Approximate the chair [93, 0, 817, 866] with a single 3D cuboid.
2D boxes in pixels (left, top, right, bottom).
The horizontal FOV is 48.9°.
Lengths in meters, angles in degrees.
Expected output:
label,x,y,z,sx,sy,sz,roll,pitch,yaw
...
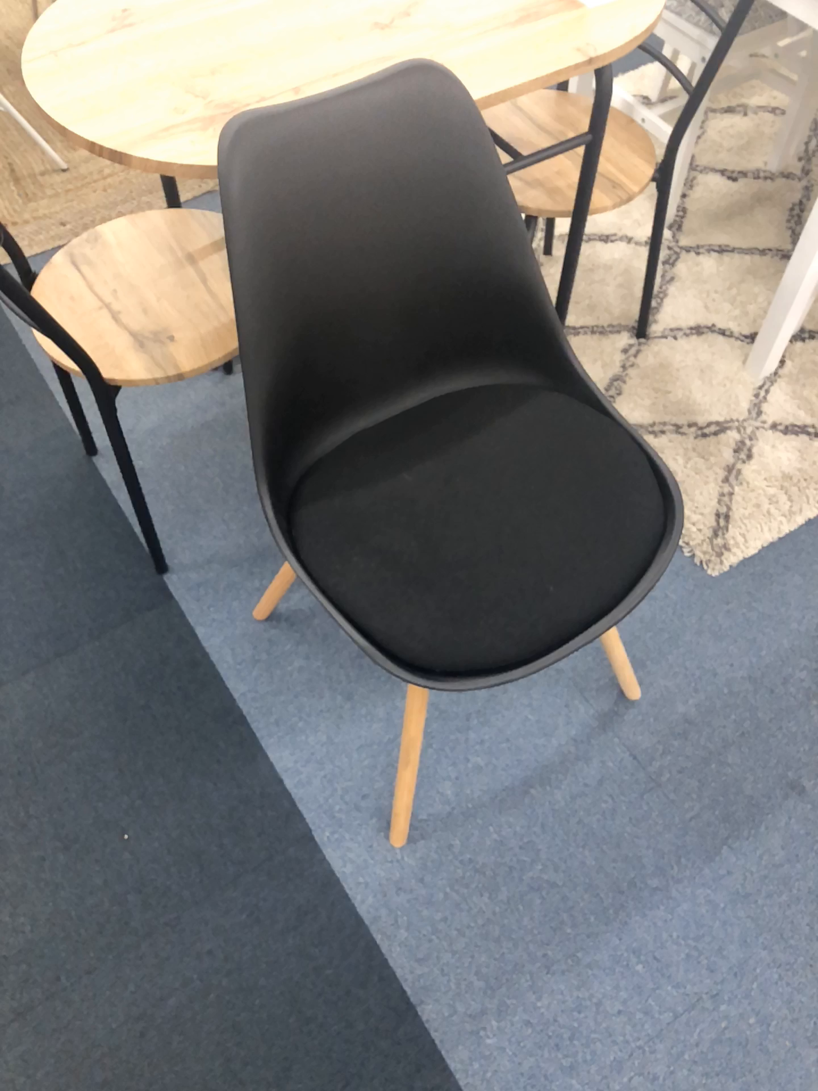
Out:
label,x,y,z,sx,sy,sz,roll,pitch,yaw
chair,0.049,-0.065,1.127,0.491,0.858,0.501,-27,60,-18
